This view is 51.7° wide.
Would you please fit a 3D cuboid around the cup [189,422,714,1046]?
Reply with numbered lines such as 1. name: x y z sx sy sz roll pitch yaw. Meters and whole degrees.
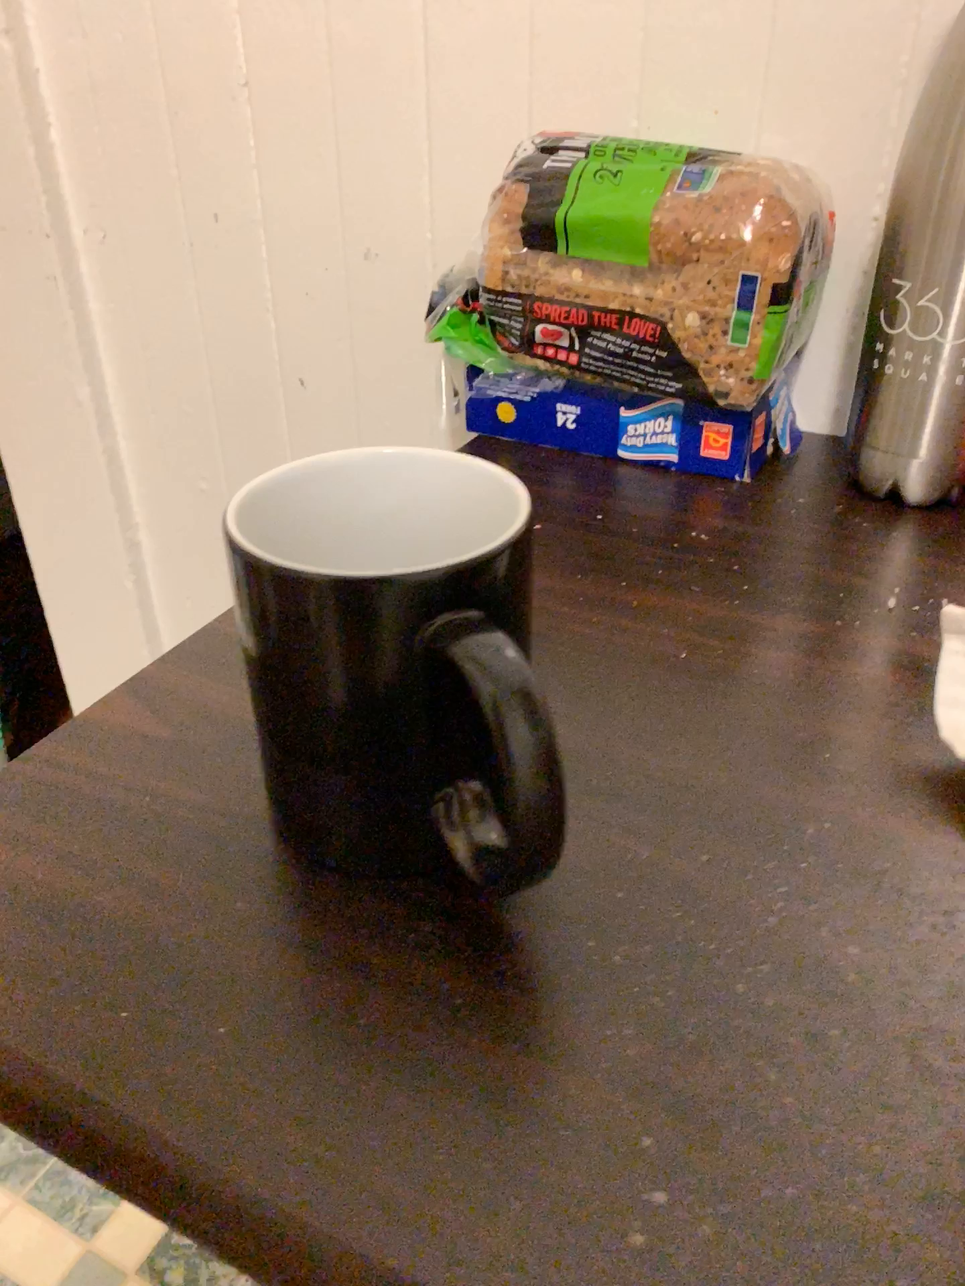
1. cup: -0.016 0.013 0.277 0.080 0.099 0.131 -18 36 -24
